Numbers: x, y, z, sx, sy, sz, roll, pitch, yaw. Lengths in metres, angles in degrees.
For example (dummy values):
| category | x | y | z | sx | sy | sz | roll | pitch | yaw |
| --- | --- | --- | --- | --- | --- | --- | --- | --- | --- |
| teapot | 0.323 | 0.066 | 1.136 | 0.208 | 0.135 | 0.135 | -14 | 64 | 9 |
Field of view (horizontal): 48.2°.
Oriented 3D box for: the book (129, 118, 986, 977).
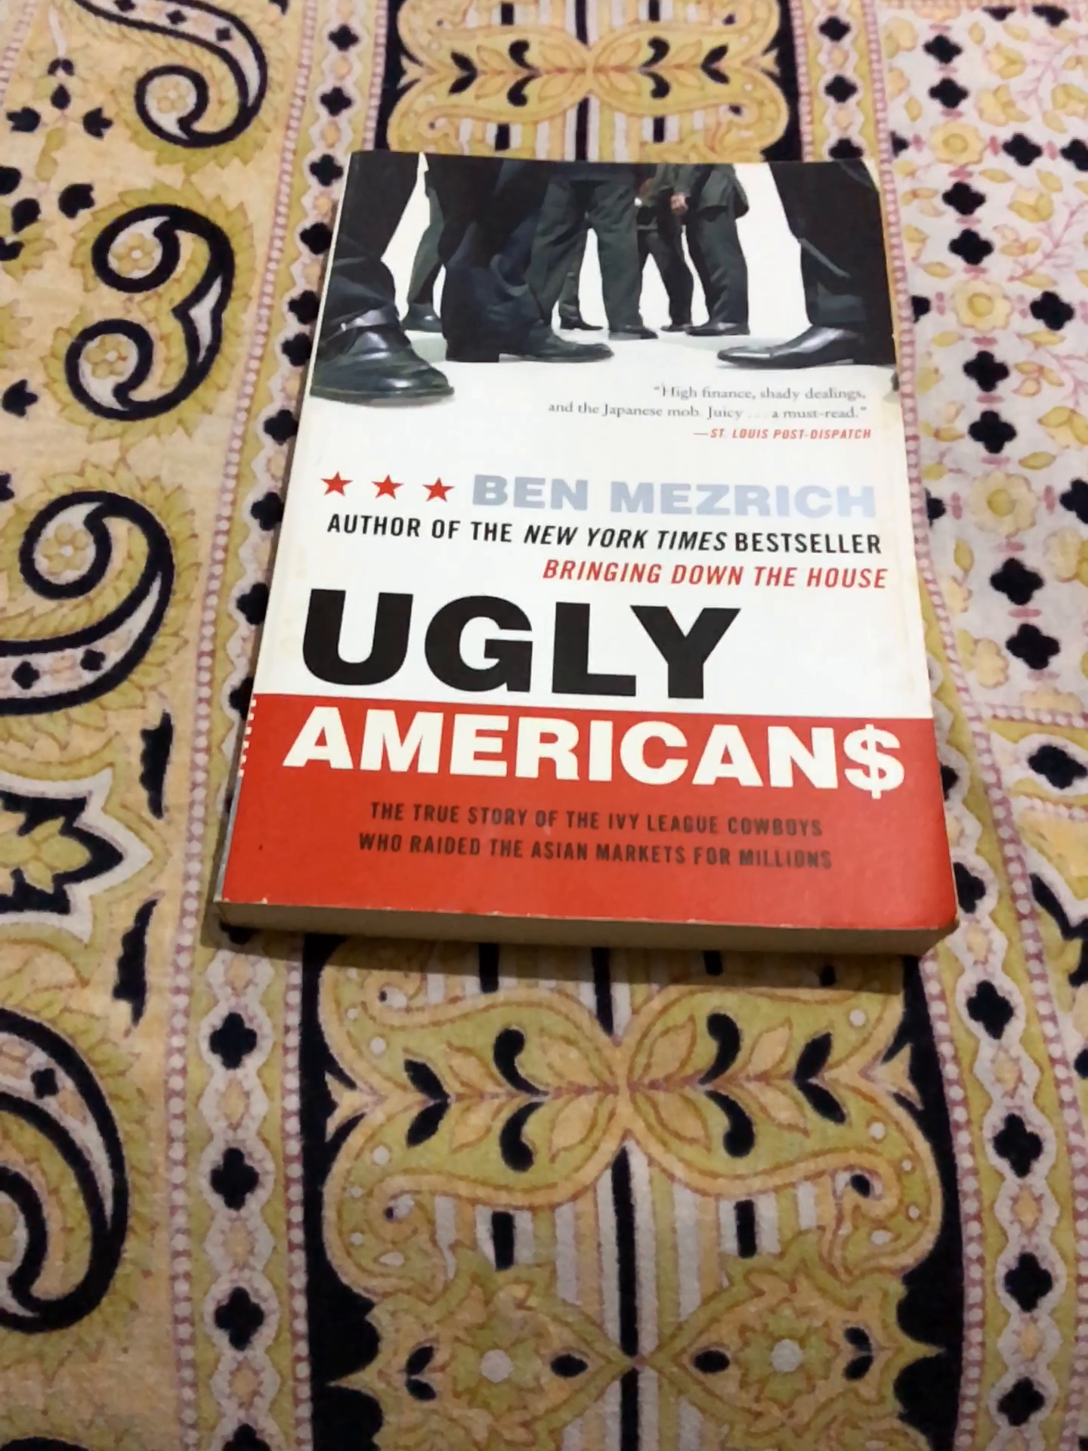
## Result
| category | x | y | z | sx | sy | sz | roll | pitch | yaw |
| --- | --- | --- | --- | --- | --- | --- | --- | --- | --- |
| book | 0.006 | -0.048 | 0.253 | 0.140 | 0.030 | 0.190 | 2 | 64 | 3 |
